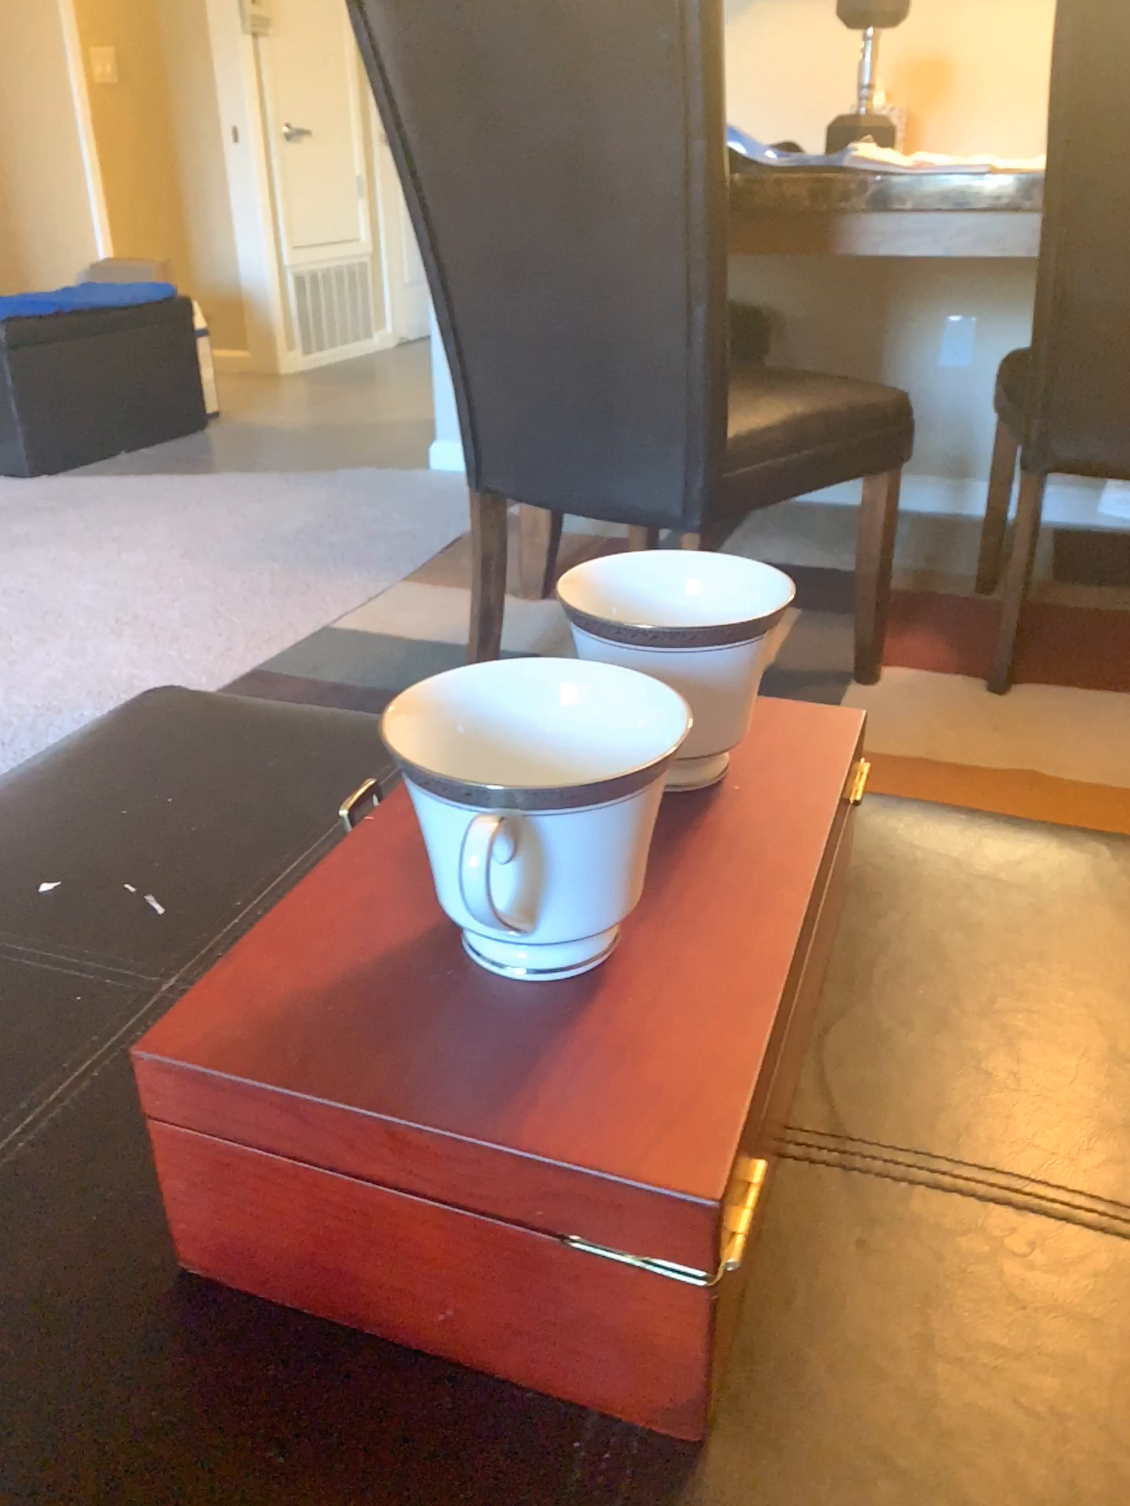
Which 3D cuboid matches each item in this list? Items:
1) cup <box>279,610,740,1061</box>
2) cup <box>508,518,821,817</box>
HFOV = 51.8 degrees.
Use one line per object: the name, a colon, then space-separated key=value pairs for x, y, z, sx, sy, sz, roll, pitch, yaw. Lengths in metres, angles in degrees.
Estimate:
cup: x=-0.009 y=0.015 z=0.334 sx=0.090 sy=0.070 sz=0.110 roll=9 pitch=29 yaw=19
cup: x=0.042 y=-0.039 z=0.451 sx=0.090 sy=0.070 sz=0.110 roll=9 pitch=28 yaw=18
